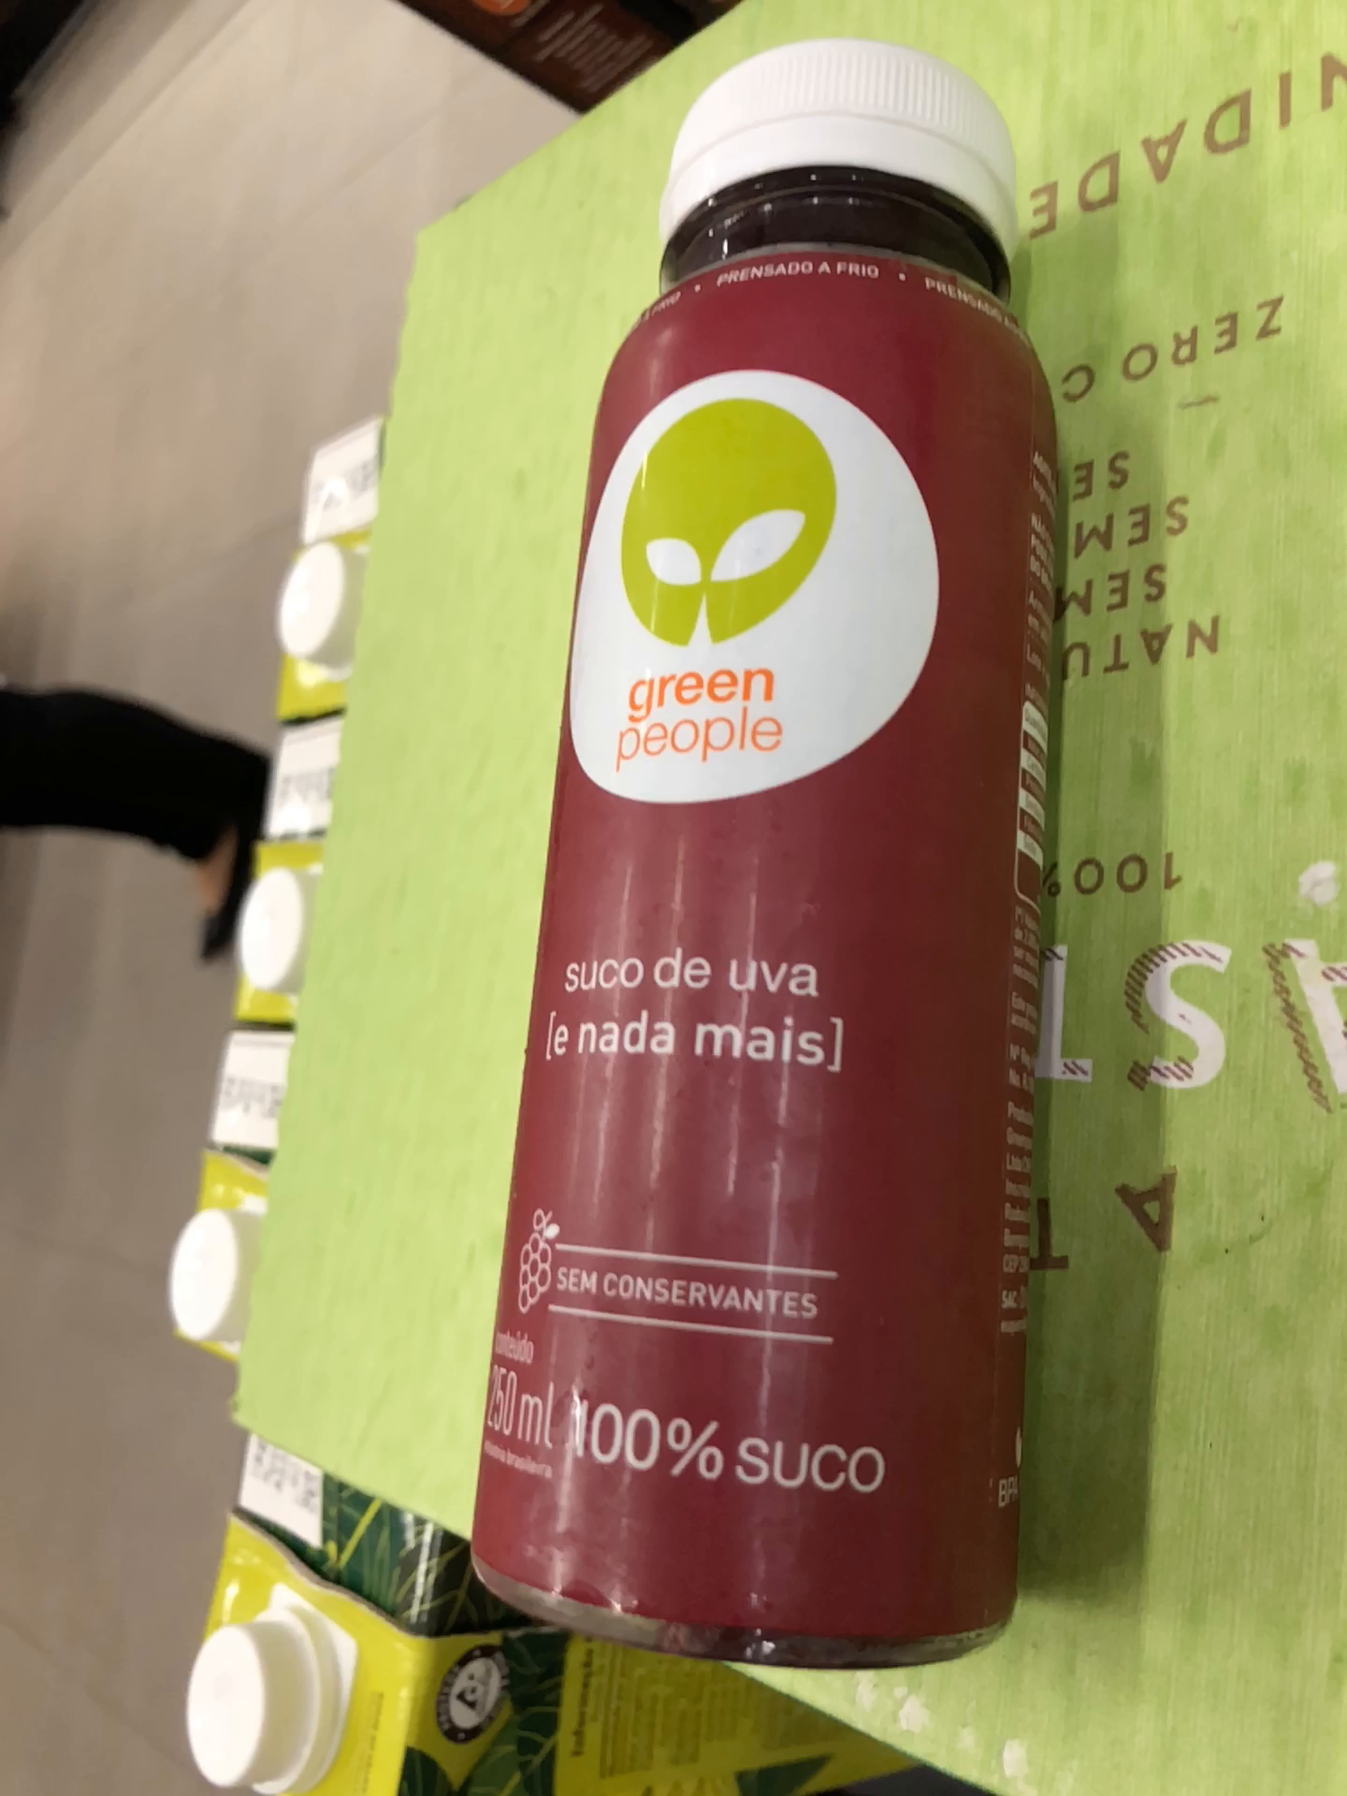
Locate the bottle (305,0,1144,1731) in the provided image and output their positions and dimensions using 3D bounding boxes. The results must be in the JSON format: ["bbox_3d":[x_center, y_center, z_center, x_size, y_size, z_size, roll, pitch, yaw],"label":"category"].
[{"bbox_3d":[0.014,-0.017,0.165,0.060,0.060,0.170,0,78,25],"label":"bottle"}]
